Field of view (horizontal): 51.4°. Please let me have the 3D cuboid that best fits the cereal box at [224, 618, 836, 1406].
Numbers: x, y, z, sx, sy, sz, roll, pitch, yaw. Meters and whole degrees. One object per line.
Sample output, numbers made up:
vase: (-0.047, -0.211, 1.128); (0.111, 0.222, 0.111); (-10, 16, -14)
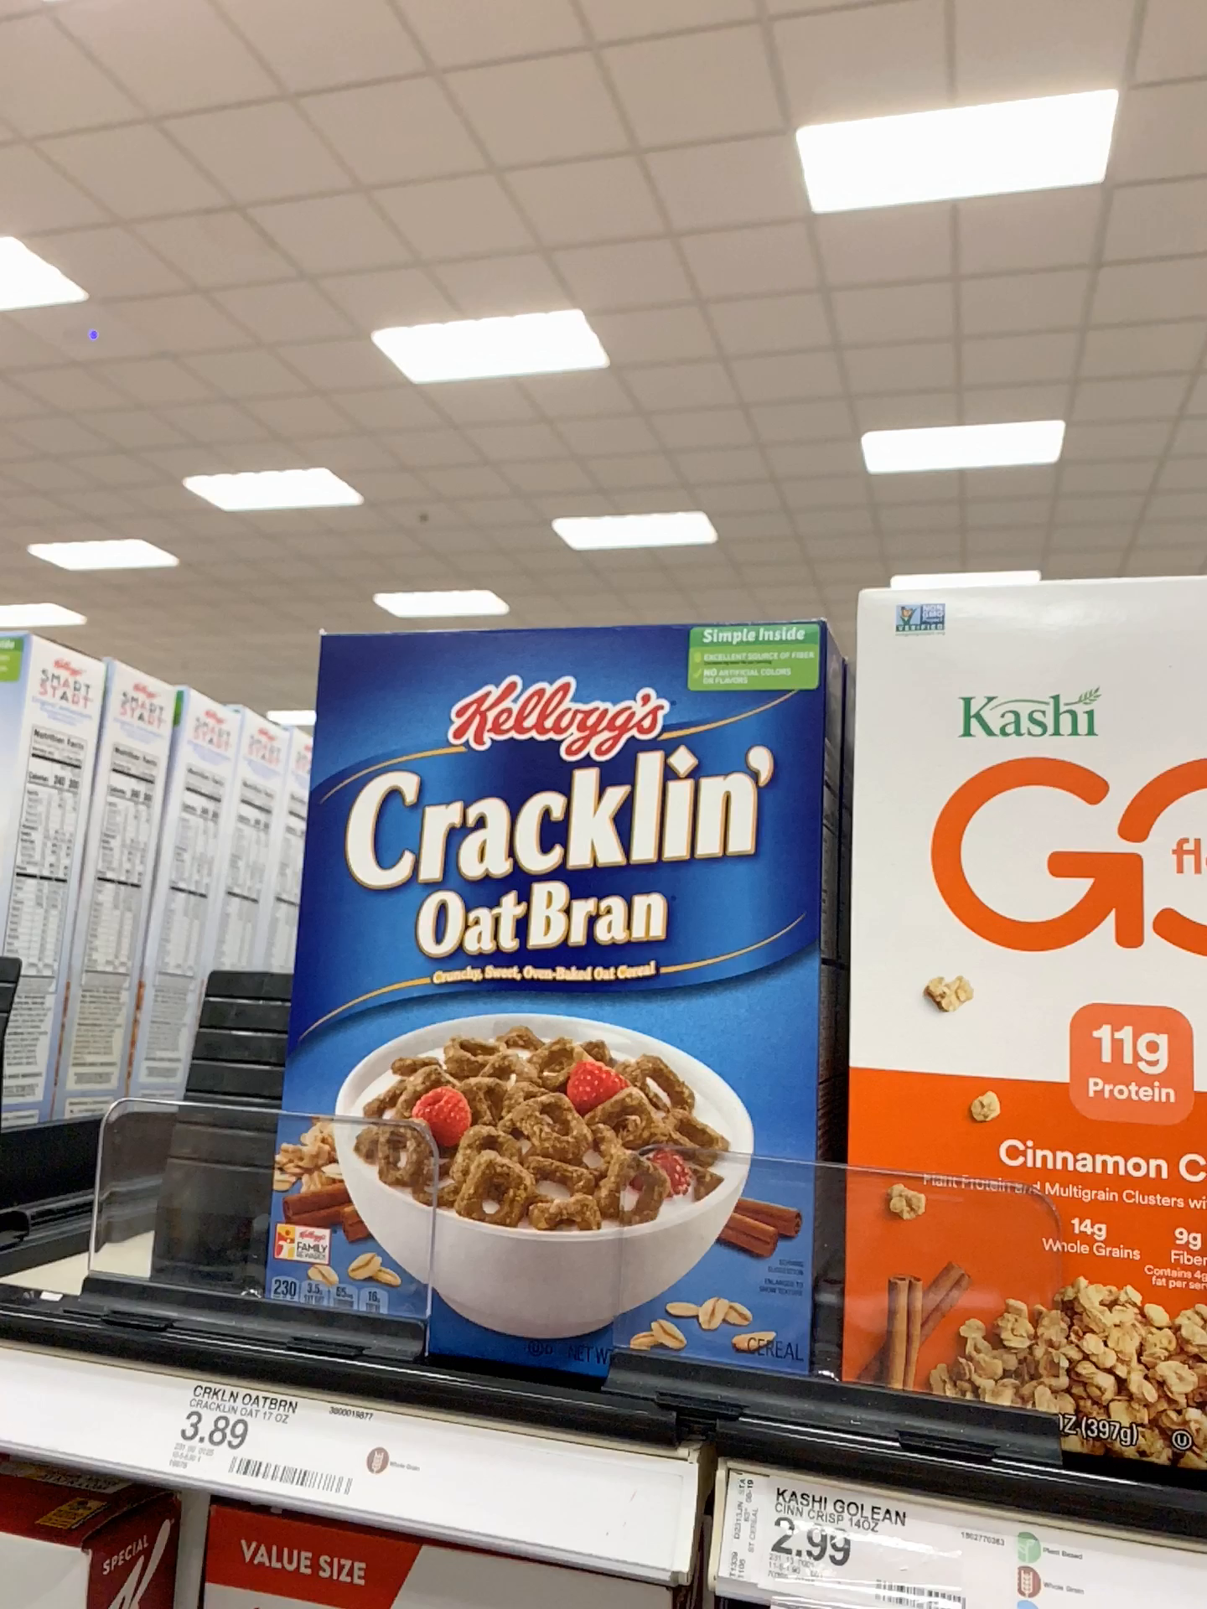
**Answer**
cereal box: (-0.021, 0.060, 0.432); (0.190, 0.240, 0.050); (1, -8, 13)
